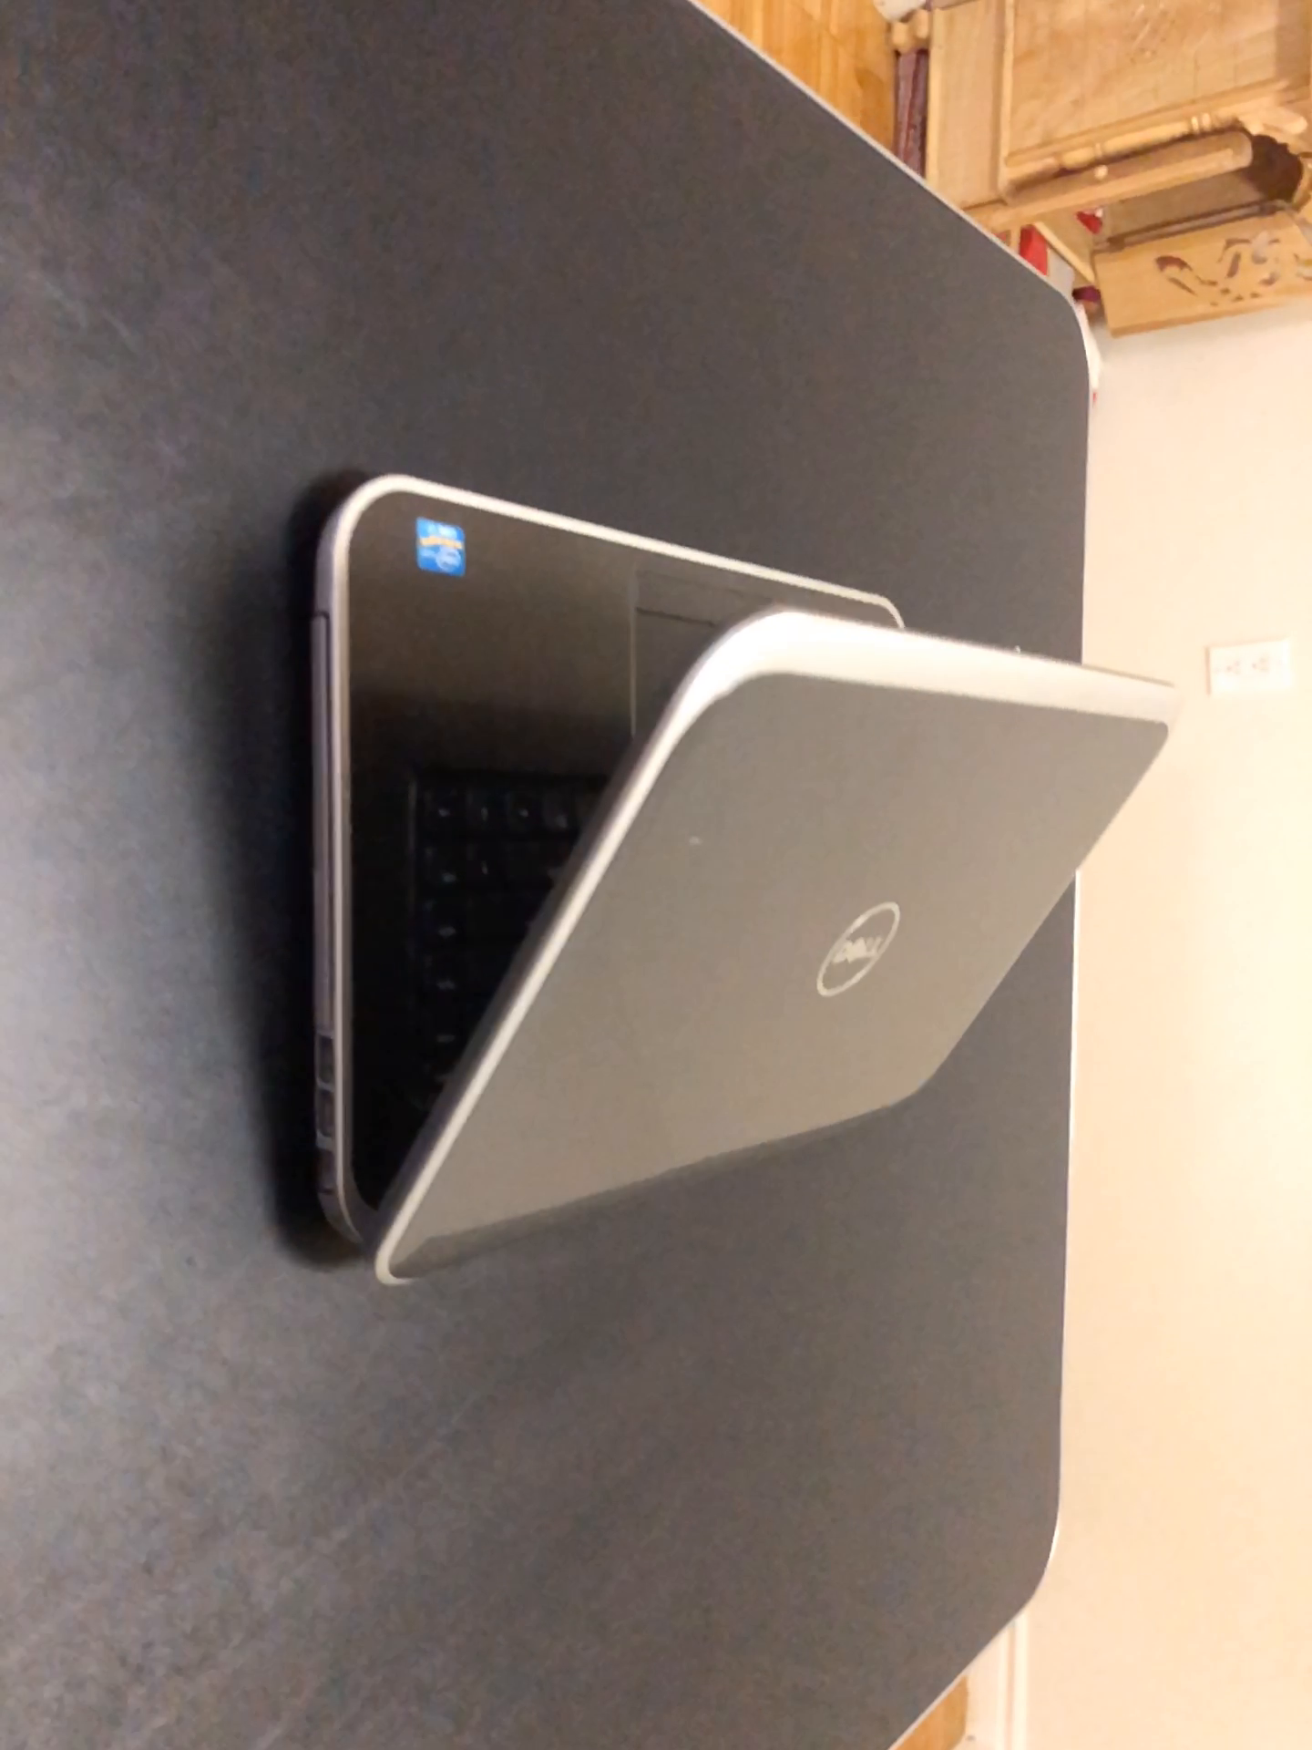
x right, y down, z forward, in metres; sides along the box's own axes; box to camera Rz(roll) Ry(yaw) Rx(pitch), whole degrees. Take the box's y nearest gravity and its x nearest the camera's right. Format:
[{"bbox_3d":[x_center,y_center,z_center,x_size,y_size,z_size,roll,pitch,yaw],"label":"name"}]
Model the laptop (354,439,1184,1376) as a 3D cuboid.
[{"bbox_3d":[0.071,0.002,0.550,0.358,0.137,0.239,-4,95,-53],"label":"laptop"}]
